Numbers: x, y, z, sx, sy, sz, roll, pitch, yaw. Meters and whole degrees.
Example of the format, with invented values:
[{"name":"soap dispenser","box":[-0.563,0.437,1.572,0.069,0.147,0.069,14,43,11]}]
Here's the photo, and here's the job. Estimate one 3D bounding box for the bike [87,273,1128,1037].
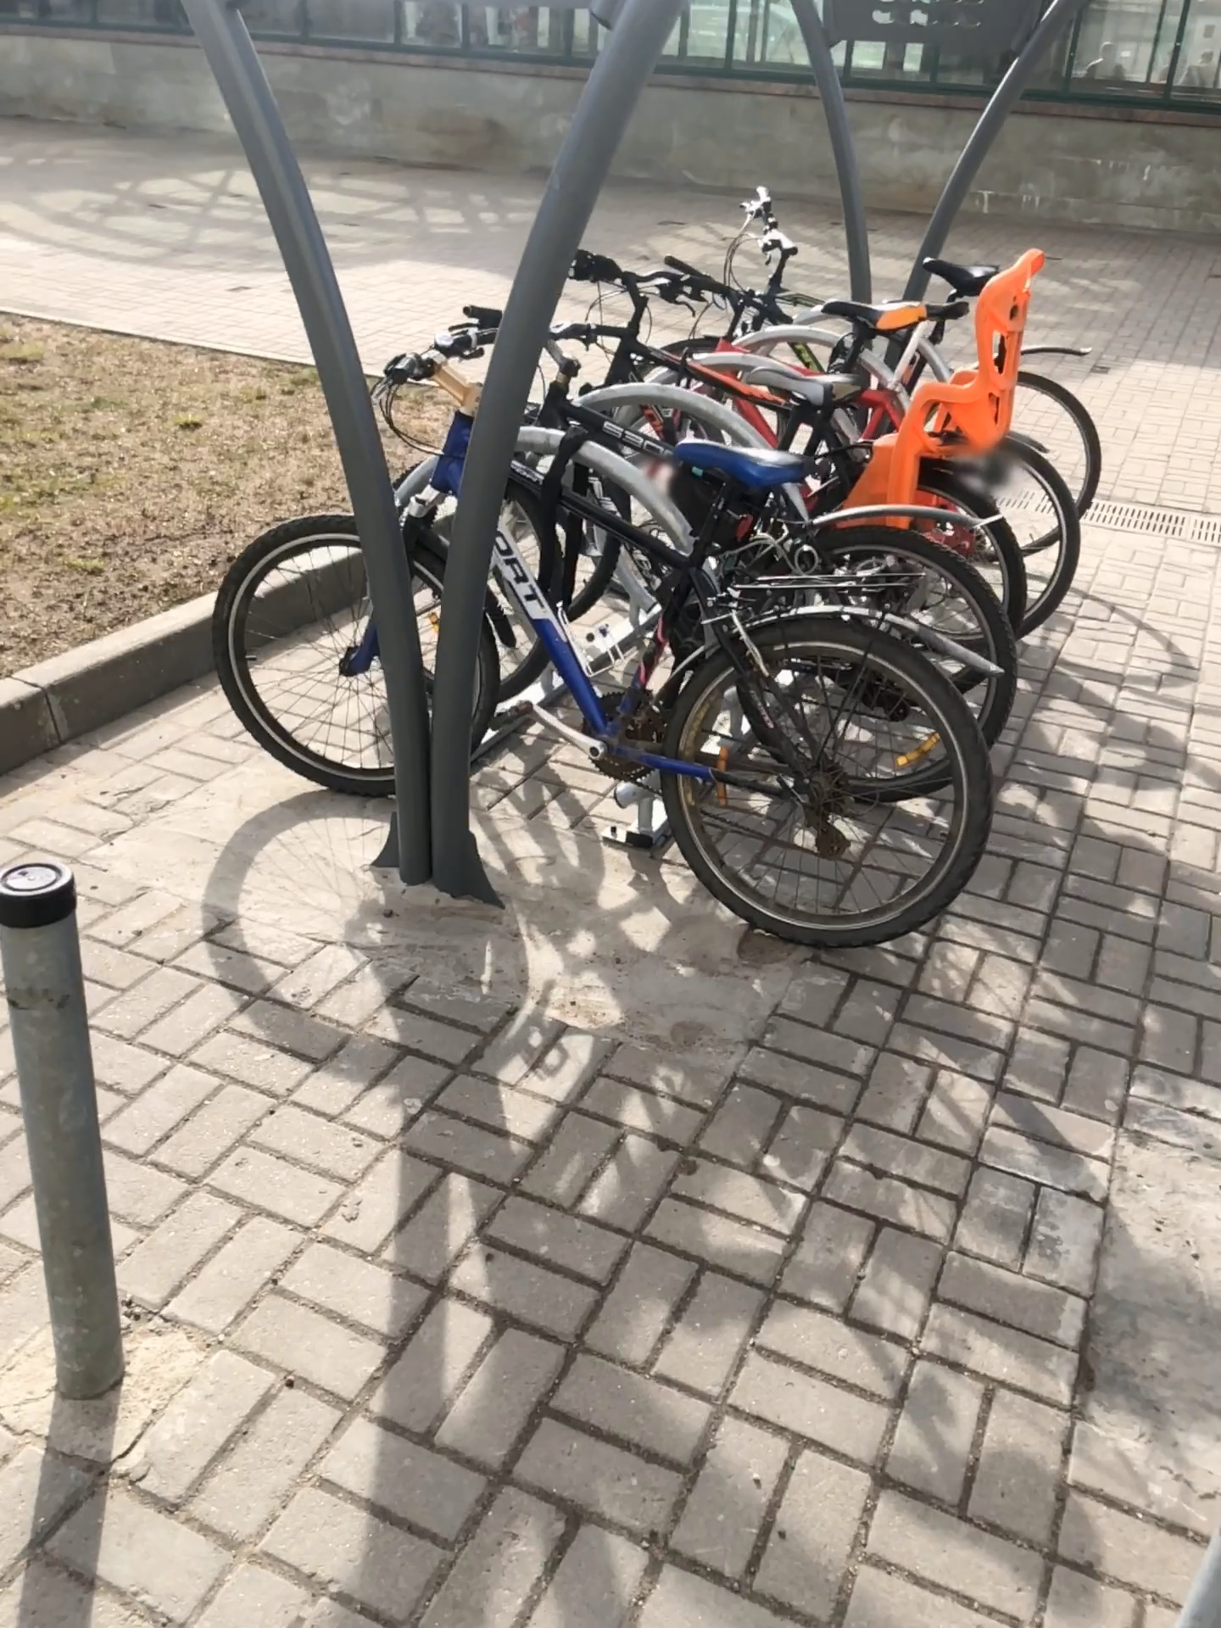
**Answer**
[{"name":"bike","box":[-0.034,-0.381,2.564,1.660,0.959,0.629,16,32,19]}]
